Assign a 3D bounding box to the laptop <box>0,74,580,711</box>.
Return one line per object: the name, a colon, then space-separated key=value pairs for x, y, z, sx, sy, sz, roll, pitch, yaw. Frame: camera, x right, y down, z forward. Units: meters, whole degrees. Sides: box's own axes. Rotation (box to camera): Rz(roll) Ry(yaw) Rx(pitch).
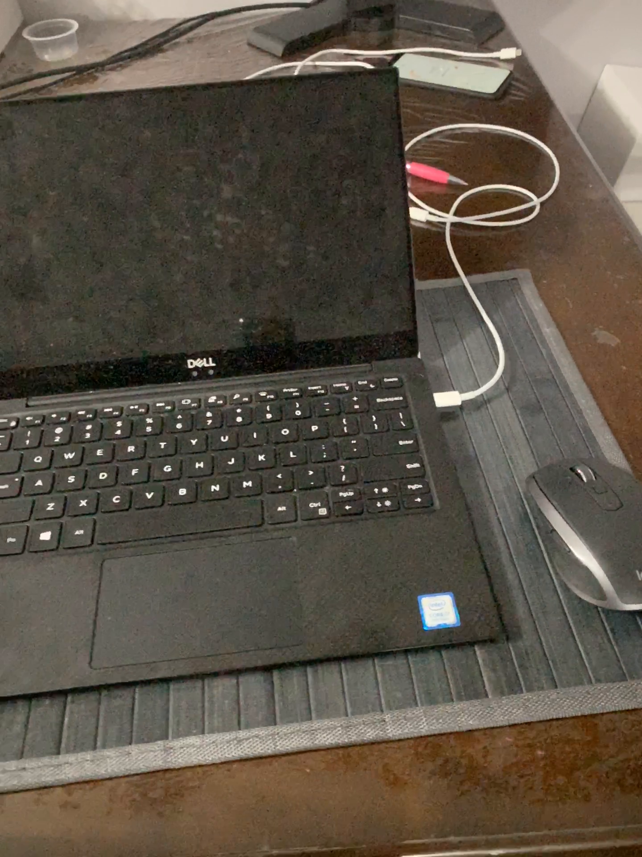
laptop: x=-0.073 y=-0.045 z=0.345 sx=0.281 sy=0.129 sz=0.299 roll=-6 pitch=49 yaw=-2
